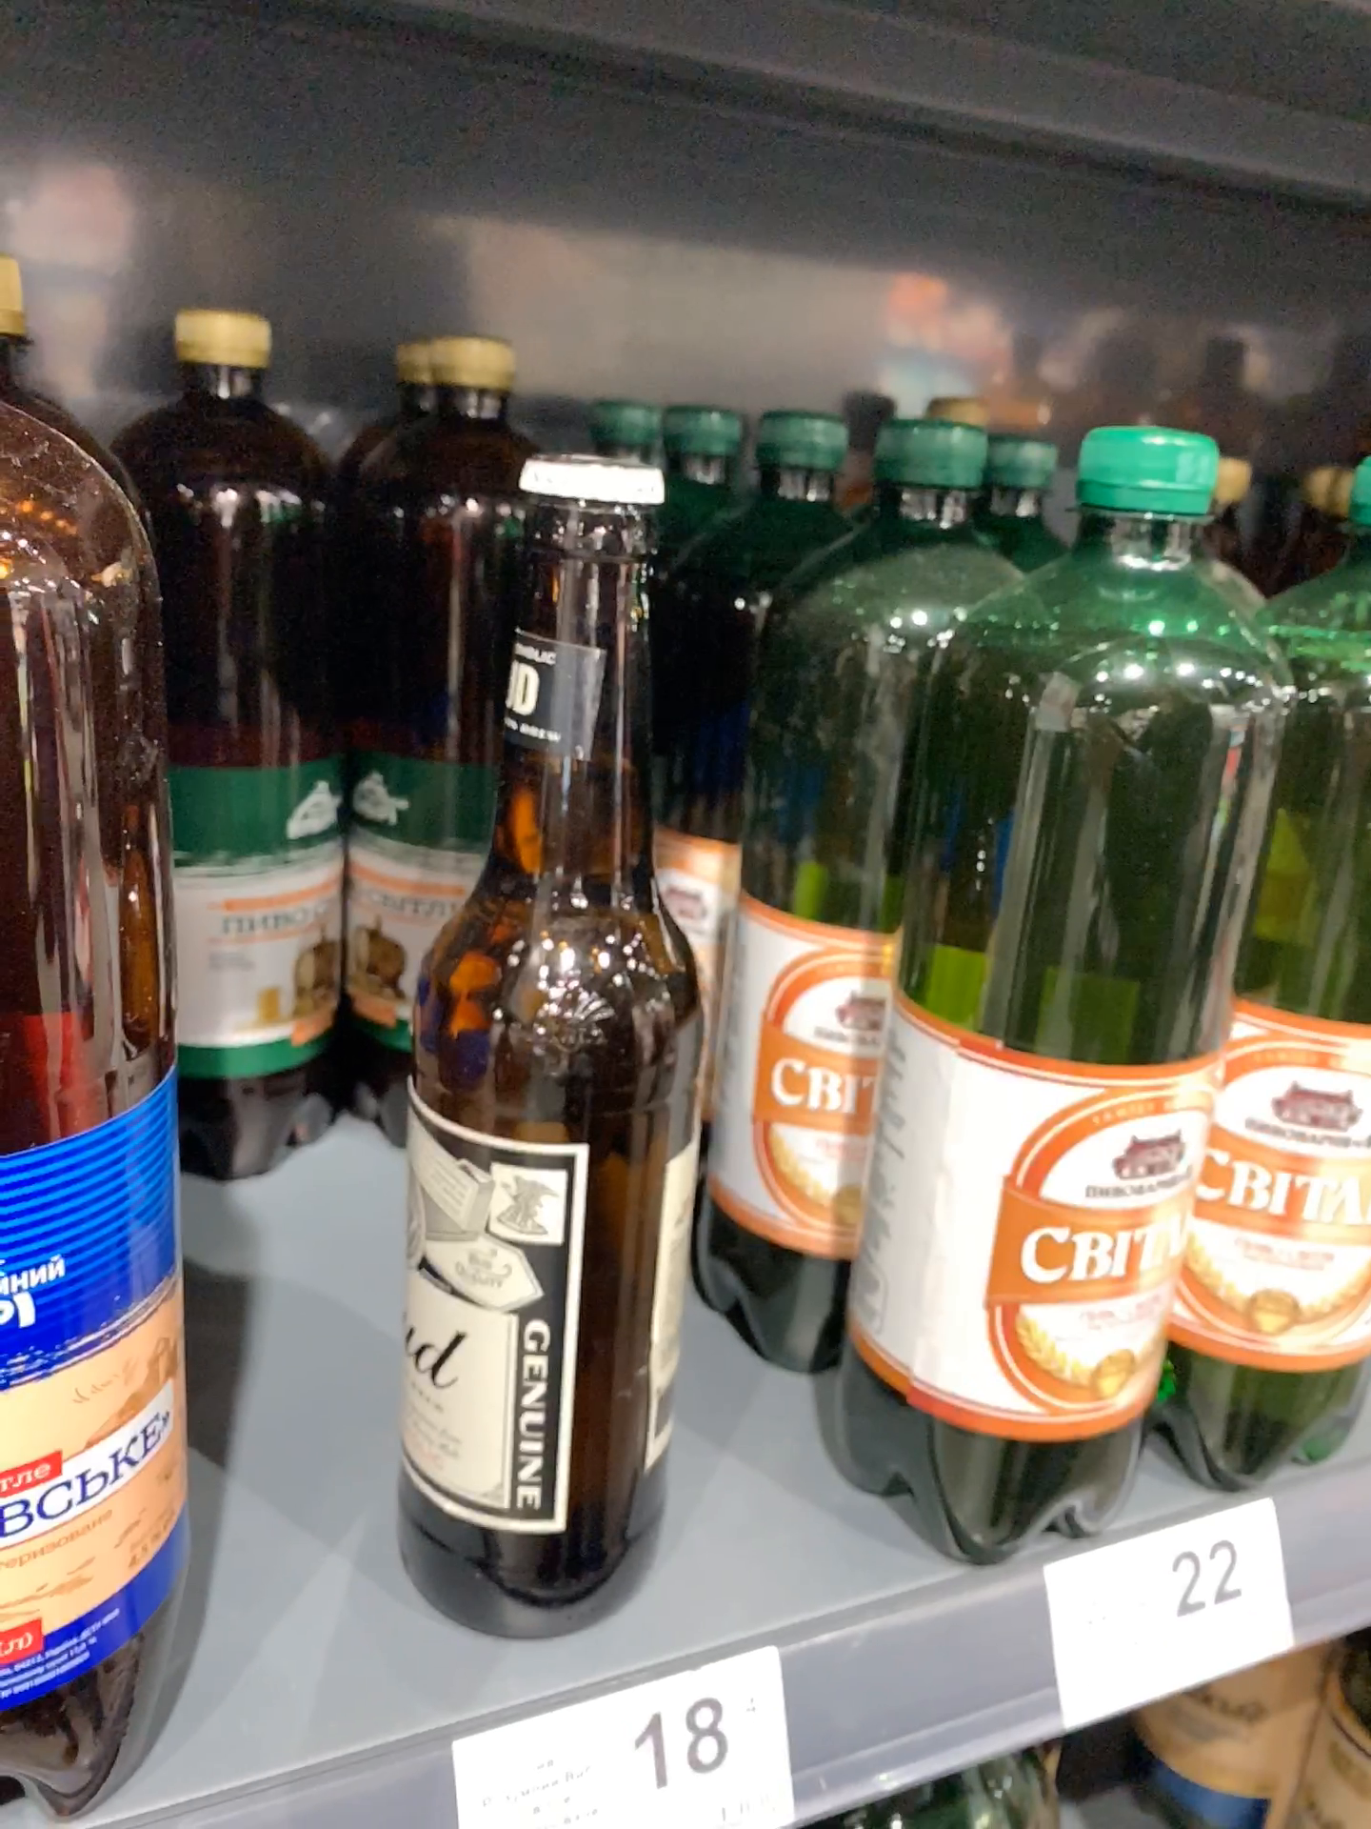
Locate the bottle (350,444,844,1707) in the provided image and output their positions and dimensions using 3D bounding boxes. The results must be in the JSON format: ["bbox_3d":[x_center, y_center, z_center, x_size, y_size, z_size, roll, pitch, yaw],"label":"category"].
[{"bbox_3d":[-0.025,0.035,0.319,0.064,0.259,0.070,17,22,32],"label":"bottle"}]
